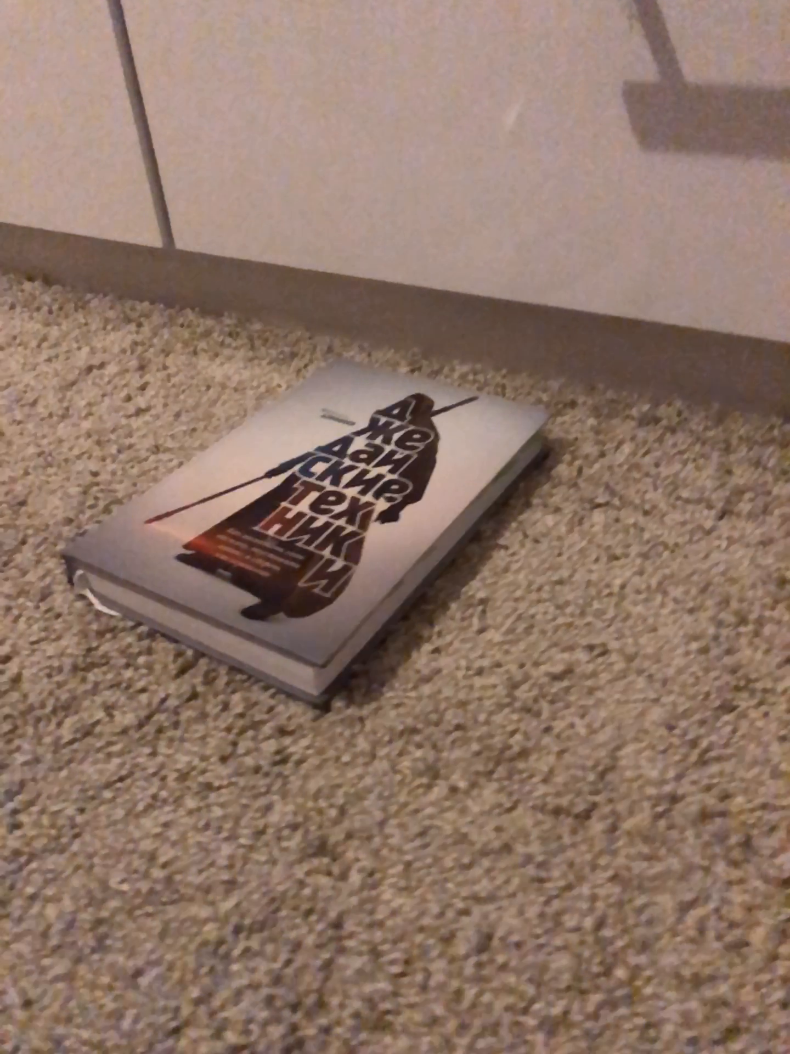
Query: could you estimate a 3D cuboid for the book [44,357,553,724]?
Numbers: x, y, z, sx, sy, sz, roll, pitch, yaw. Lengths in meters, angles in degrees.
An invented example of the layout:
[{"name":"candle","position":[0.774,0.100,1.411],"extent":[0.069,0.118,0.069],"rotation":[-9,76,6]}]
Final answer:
[{"name":"book","position":[-0.036,-0.014,0.437],"extent":[0.150,0.026,0.221],"rotation":[19,43,27]}]
